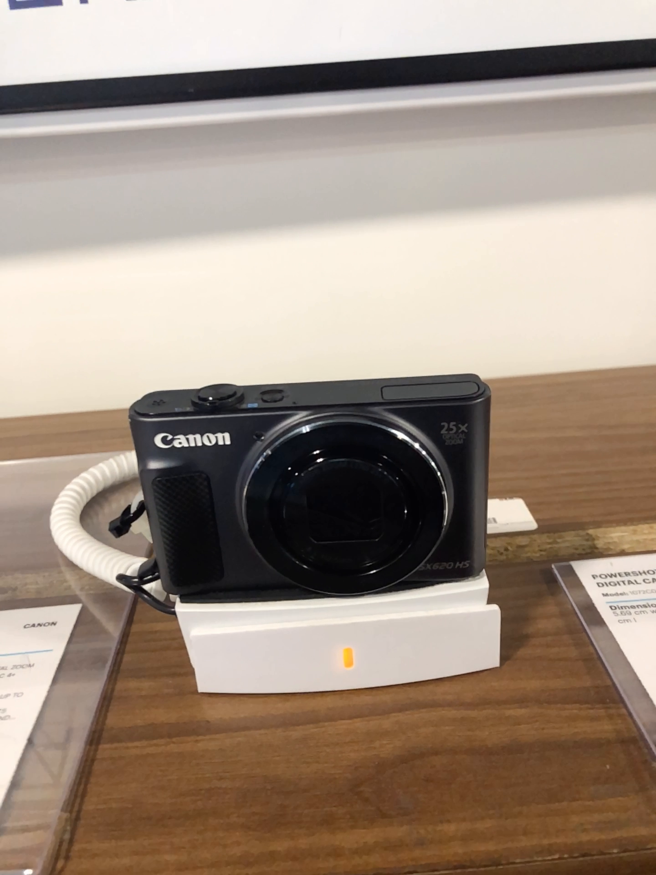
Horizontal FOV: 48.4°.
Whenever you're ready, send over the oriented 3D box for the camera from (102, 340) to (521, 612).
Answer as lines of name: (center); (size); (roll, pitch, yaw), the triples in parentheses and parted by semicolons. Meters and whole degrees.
camera: (-0.002, 0.010, 0.199); (0.100, 0.060, 0.030); (-4, 23, 0)
